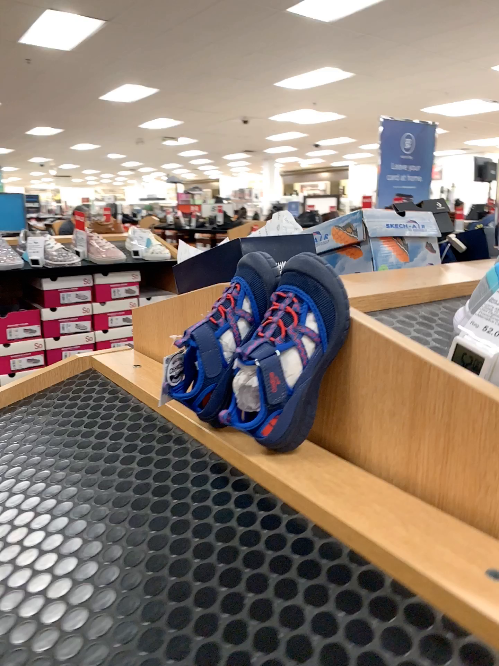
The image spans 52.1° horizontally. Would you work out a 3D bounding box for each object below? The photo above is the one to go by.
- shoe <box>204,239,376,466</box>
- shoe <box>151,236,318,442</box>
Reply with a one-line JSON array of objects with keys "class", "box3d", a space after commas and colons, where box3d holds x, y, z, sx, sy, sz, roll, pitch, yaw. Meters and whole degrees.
[{"class": "shoe", "box3d": [0.037, 0.017, 0.483, 0.080, 0.190, 0.080, 17, 0, -38]}, {"class": "shoe", "box3d": [-0.017, 0.005, 0.544, 0.100, 0.190, 0.080, 17, 1, -36]}]
